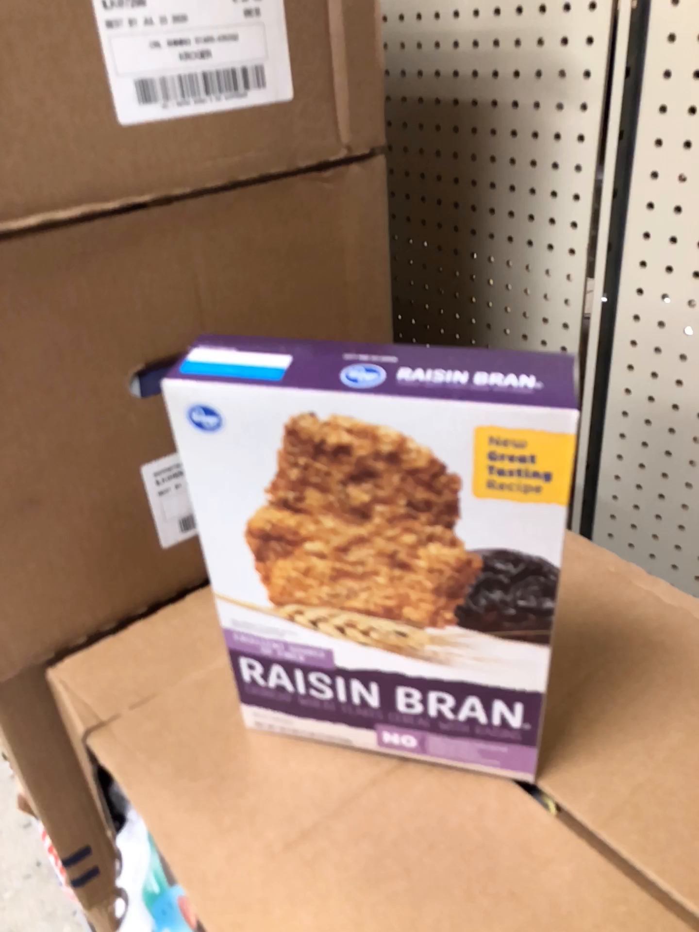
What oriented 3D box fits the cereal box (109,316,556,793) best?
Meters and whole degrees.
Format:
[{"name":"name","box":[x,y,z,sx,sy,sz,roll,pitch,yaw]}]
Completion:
[{"name":"cereal box","box":[0.005,0.060,0.414,0.190,0.279,0.050,5,38,17]}]
